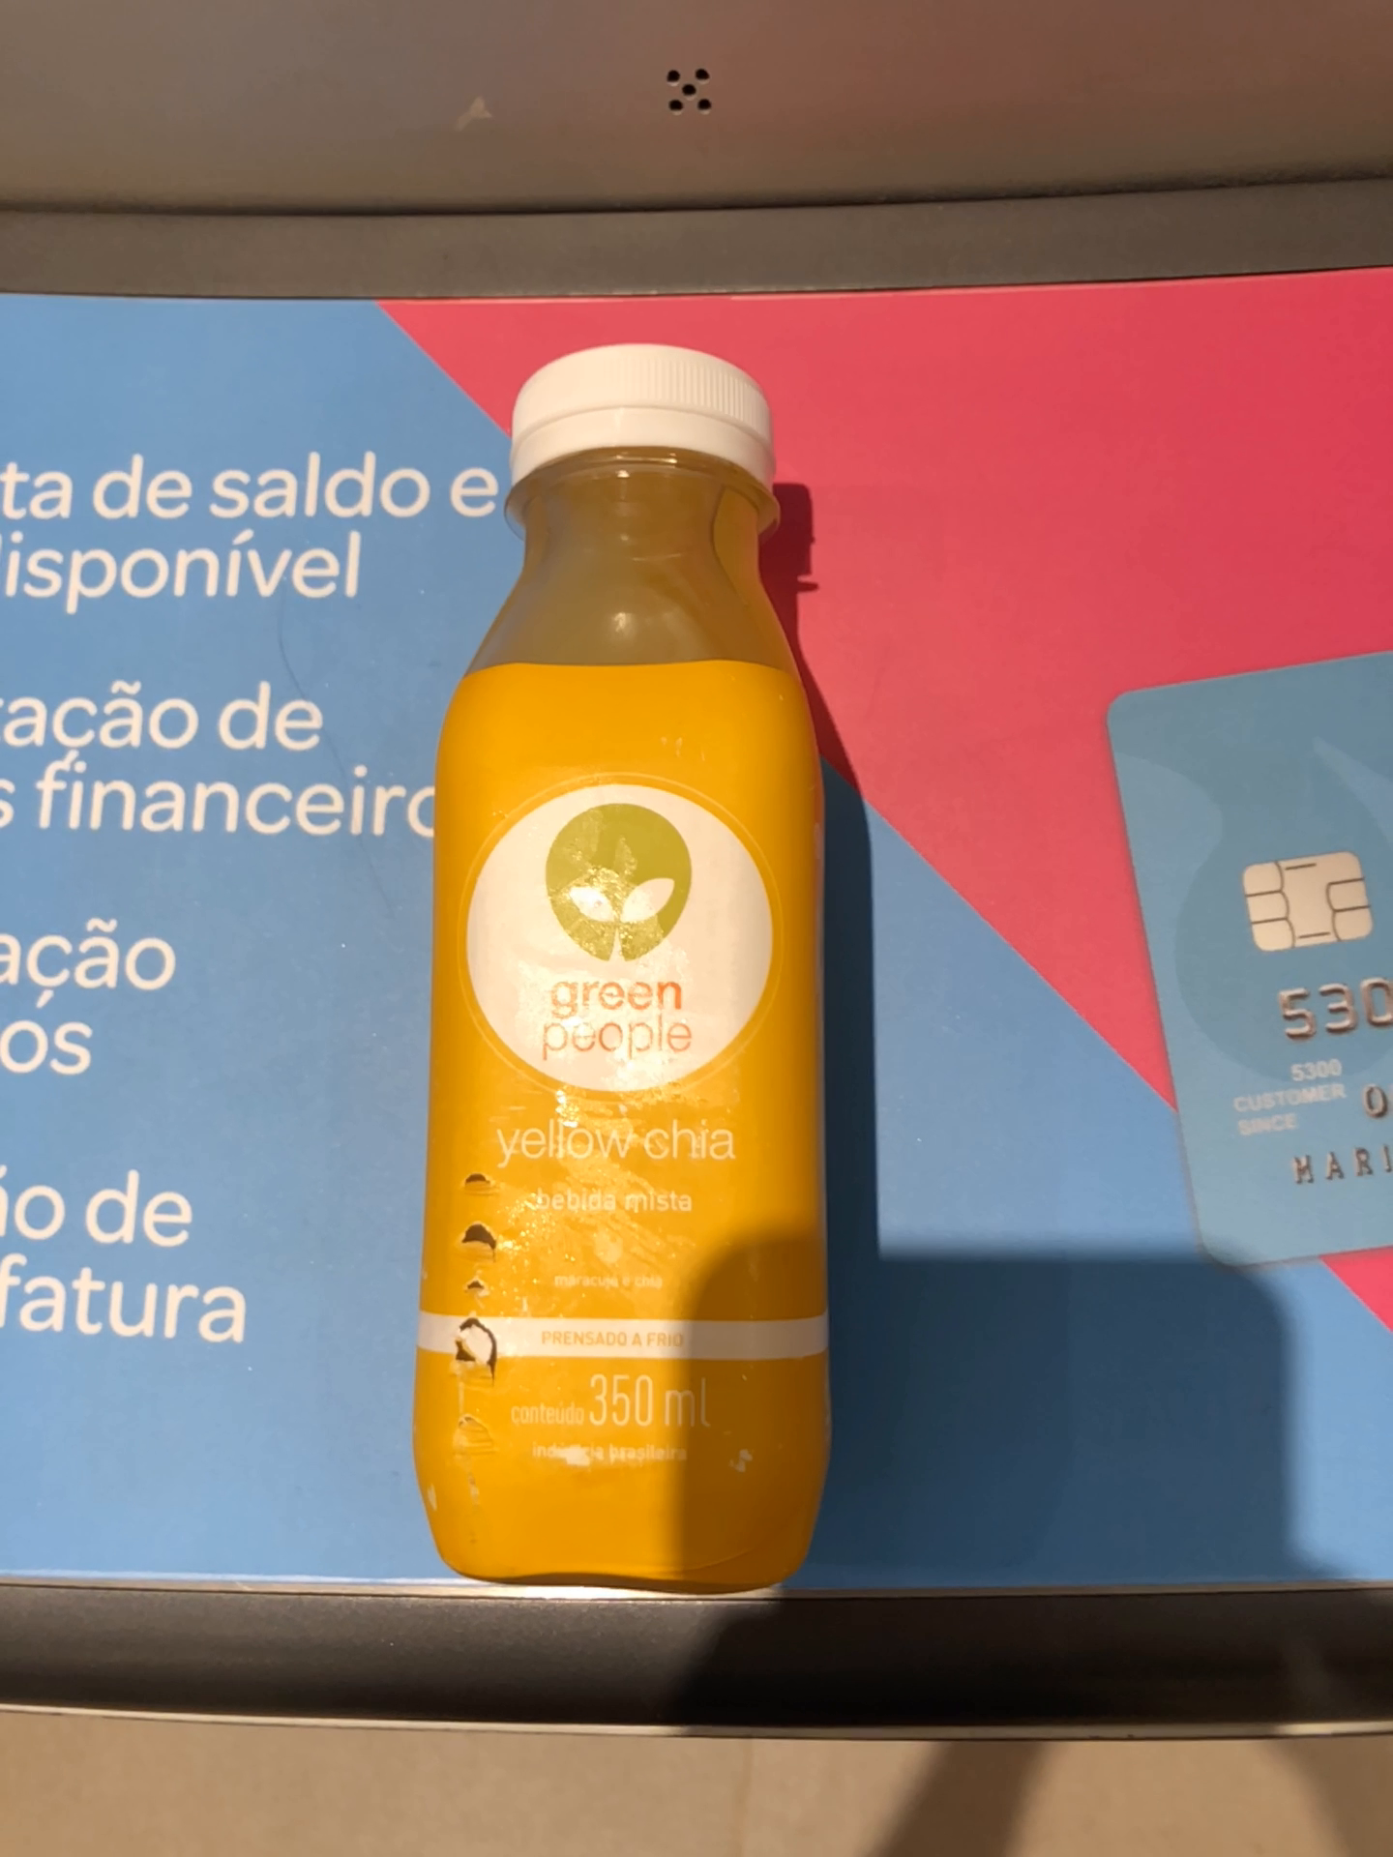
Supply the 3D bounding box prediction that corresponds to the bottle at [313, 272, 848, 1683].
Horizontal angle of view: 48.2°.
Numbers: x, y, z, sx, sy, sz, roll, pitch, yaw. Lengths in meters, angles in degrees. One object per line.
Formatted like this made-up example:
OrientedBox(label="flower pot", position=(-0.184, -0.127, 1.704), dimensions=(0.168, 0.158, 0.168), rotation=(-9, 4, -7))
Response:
OrientedBox(label="bottle", position=(-0.010, 0.004, 0.229), dimensions=(0.060, 0.060, 0.180), rotation=(1, 80, 6))
